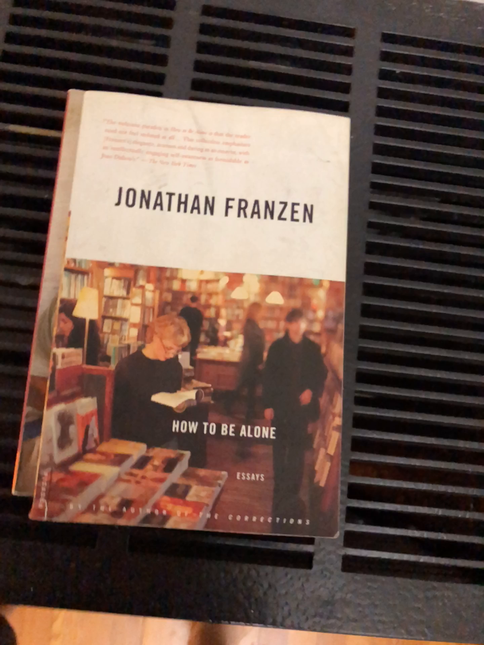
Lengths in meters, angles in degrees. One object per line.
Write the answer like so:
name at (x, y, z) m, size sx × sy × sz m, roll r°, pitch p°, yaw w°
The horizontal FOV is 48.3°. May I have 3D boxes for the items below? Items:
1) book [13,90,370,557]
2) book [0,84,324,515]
book at (-0.016, -0.003, 0.264) m, size 0.150 × 0.030 × 0.210 m, roll 4°, pitch 79°, yaw -4°
book at (-0.037, -0.015, 0.284) m, size 0.150 × 0.030 × 0.210 m, roll 4°, pitch 79°, yaw -4°
